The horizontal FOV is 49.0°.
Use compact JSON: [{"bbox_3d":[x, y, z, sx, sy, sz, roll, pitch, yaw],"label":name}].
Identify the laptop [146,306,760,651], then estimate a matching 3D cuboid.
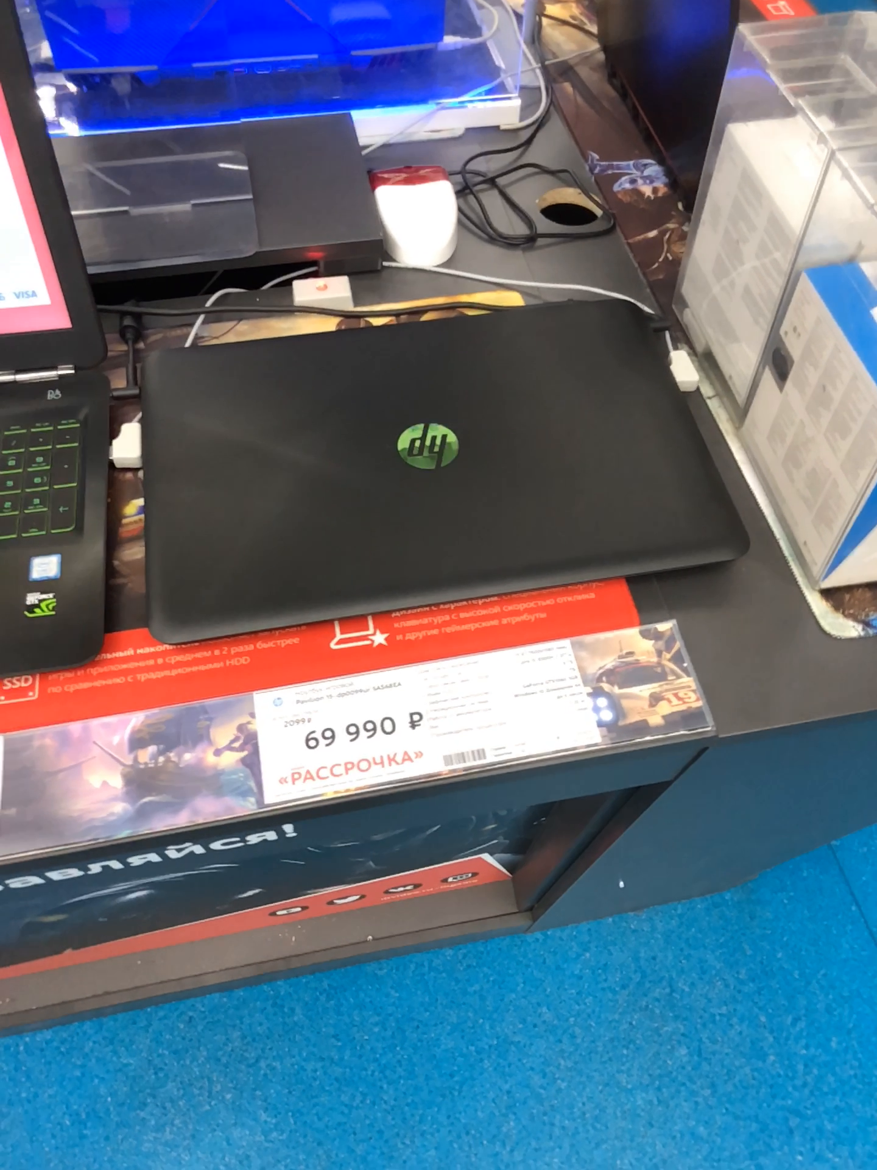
[{"bbox_3d":[-0.005,-0.087,0.649,0.372,0.006,0.240,-8,56,-7],"label":"laptop"}]
